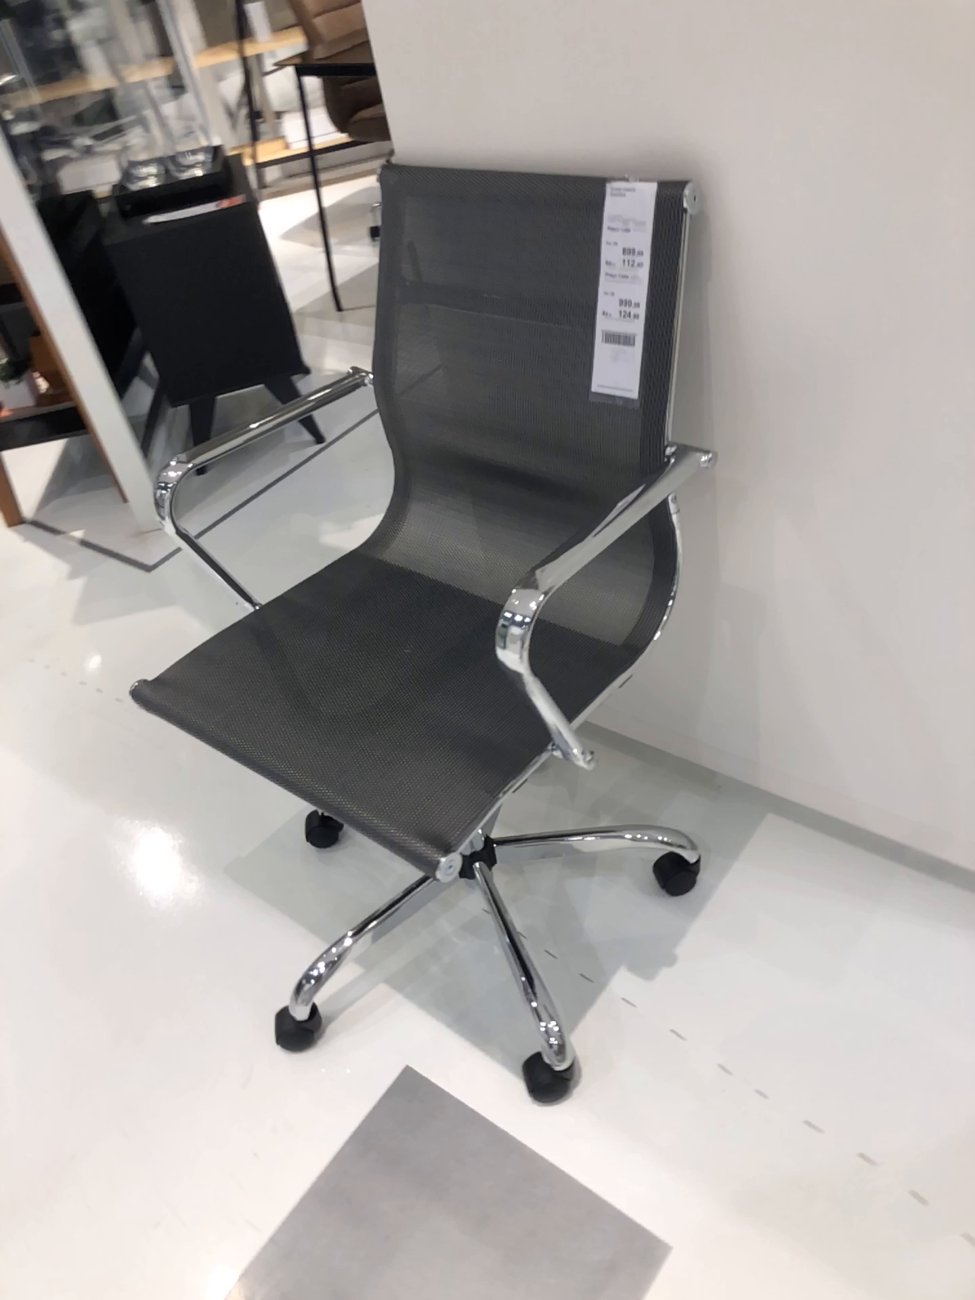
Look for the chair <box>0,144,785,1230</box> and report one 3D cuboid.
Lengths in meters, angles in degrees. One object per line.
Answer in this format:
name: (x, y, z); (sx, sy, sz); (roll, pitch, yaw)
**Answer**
chair: (-0.104, 0.005, 1.237); (0.622, 0.904, 0.652); (21, 50, 36)
